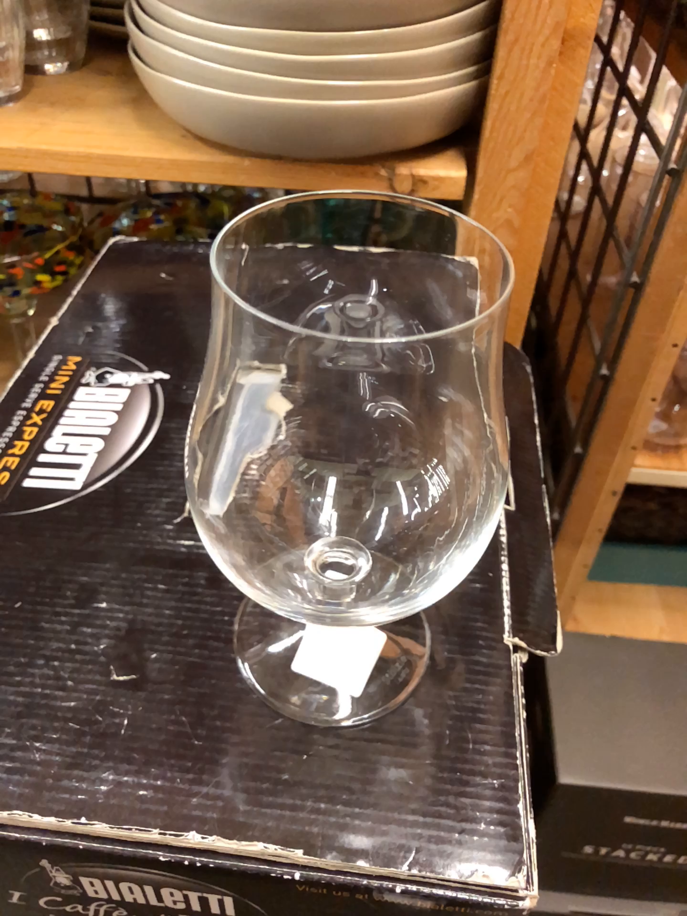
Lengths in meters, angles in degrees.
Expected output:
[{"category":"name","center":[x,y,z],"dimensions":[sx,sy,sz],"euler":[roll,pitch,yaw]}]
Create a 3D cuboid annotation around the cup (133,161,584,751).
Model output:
[{"category":"cup","center":[0.003,0.006,0.217],"dimensions":[0.082,0.145,0.080],"euler":[2,43,-2]}]
